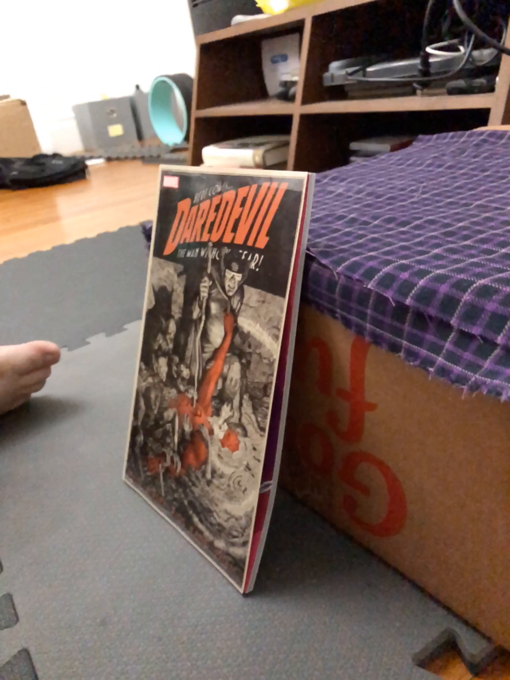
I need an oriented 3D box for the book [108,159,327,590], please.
[{"bbox_3d":[-0.038,0.007,0.358,0.020,0.229,0.160,-1,15,-40],"label":"book"}]
